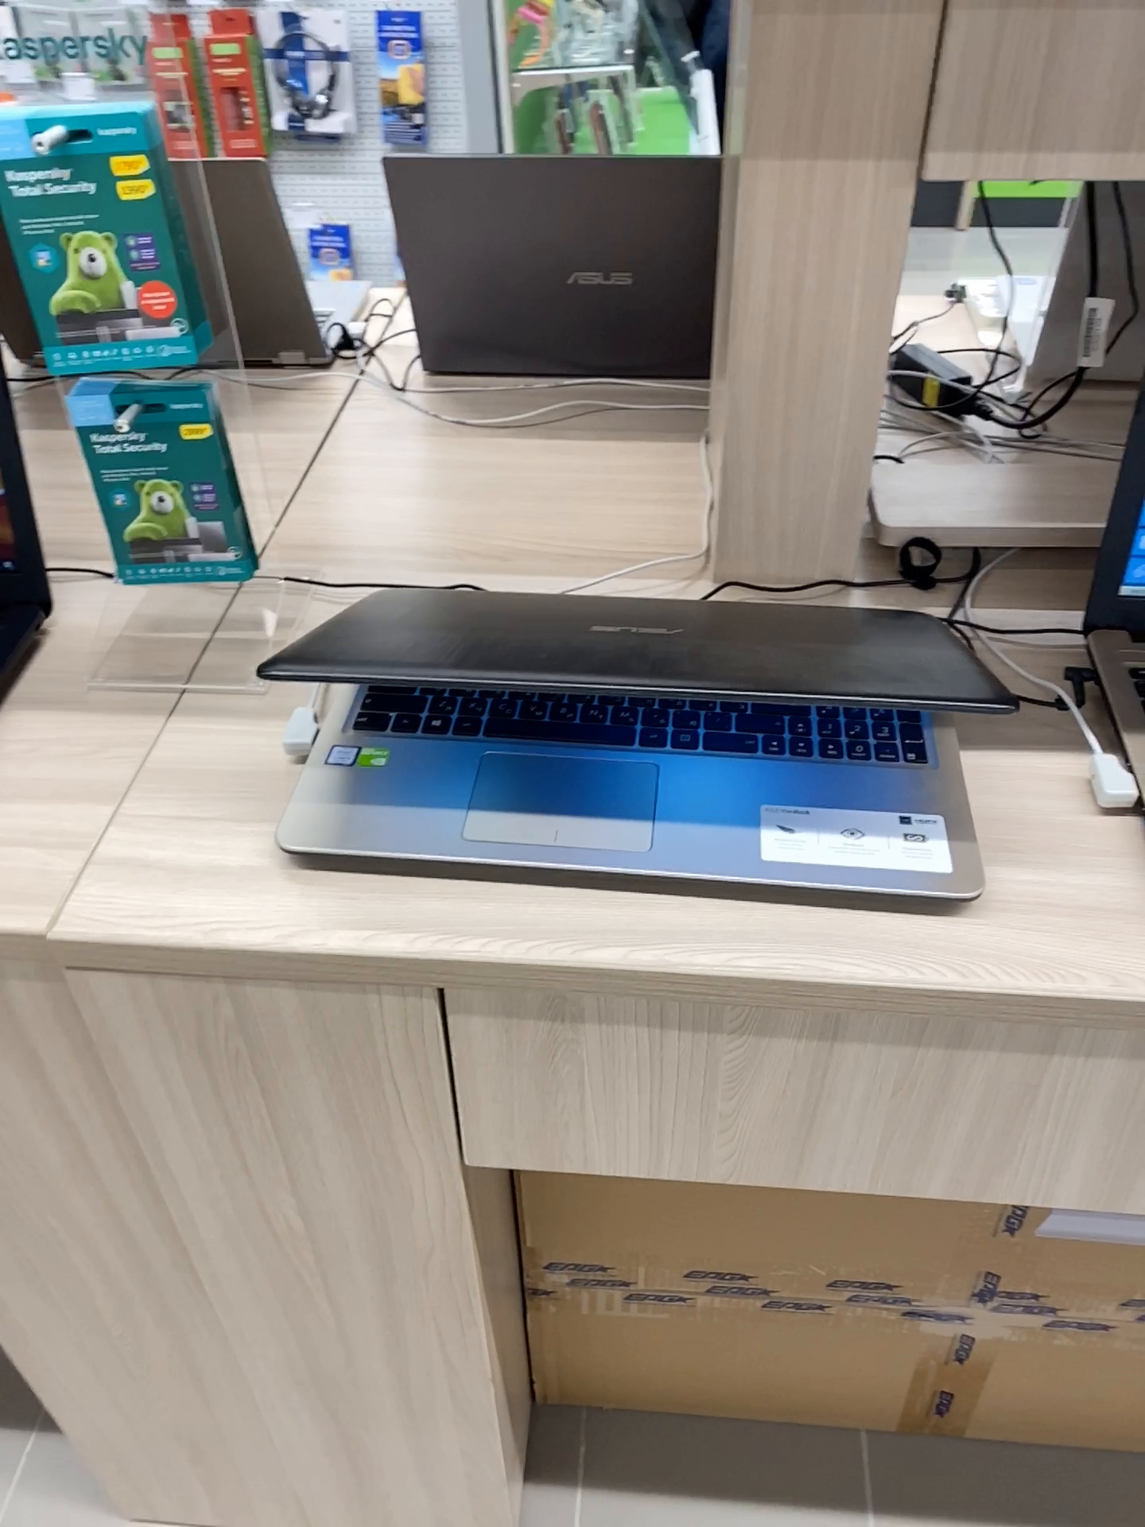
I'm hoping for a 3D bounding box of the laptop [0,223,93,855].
[{"bbox_3d":[-0.588,-0.151,0.699,0.420,0.235,0.319,2,40,5],"label":"laptop"}]

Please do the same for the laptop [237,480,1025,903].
[{"bbox_3d":[0.037,-0.056,0.684,0.382,0.094,0.241,4,41,6],"label":"laptop"}]
